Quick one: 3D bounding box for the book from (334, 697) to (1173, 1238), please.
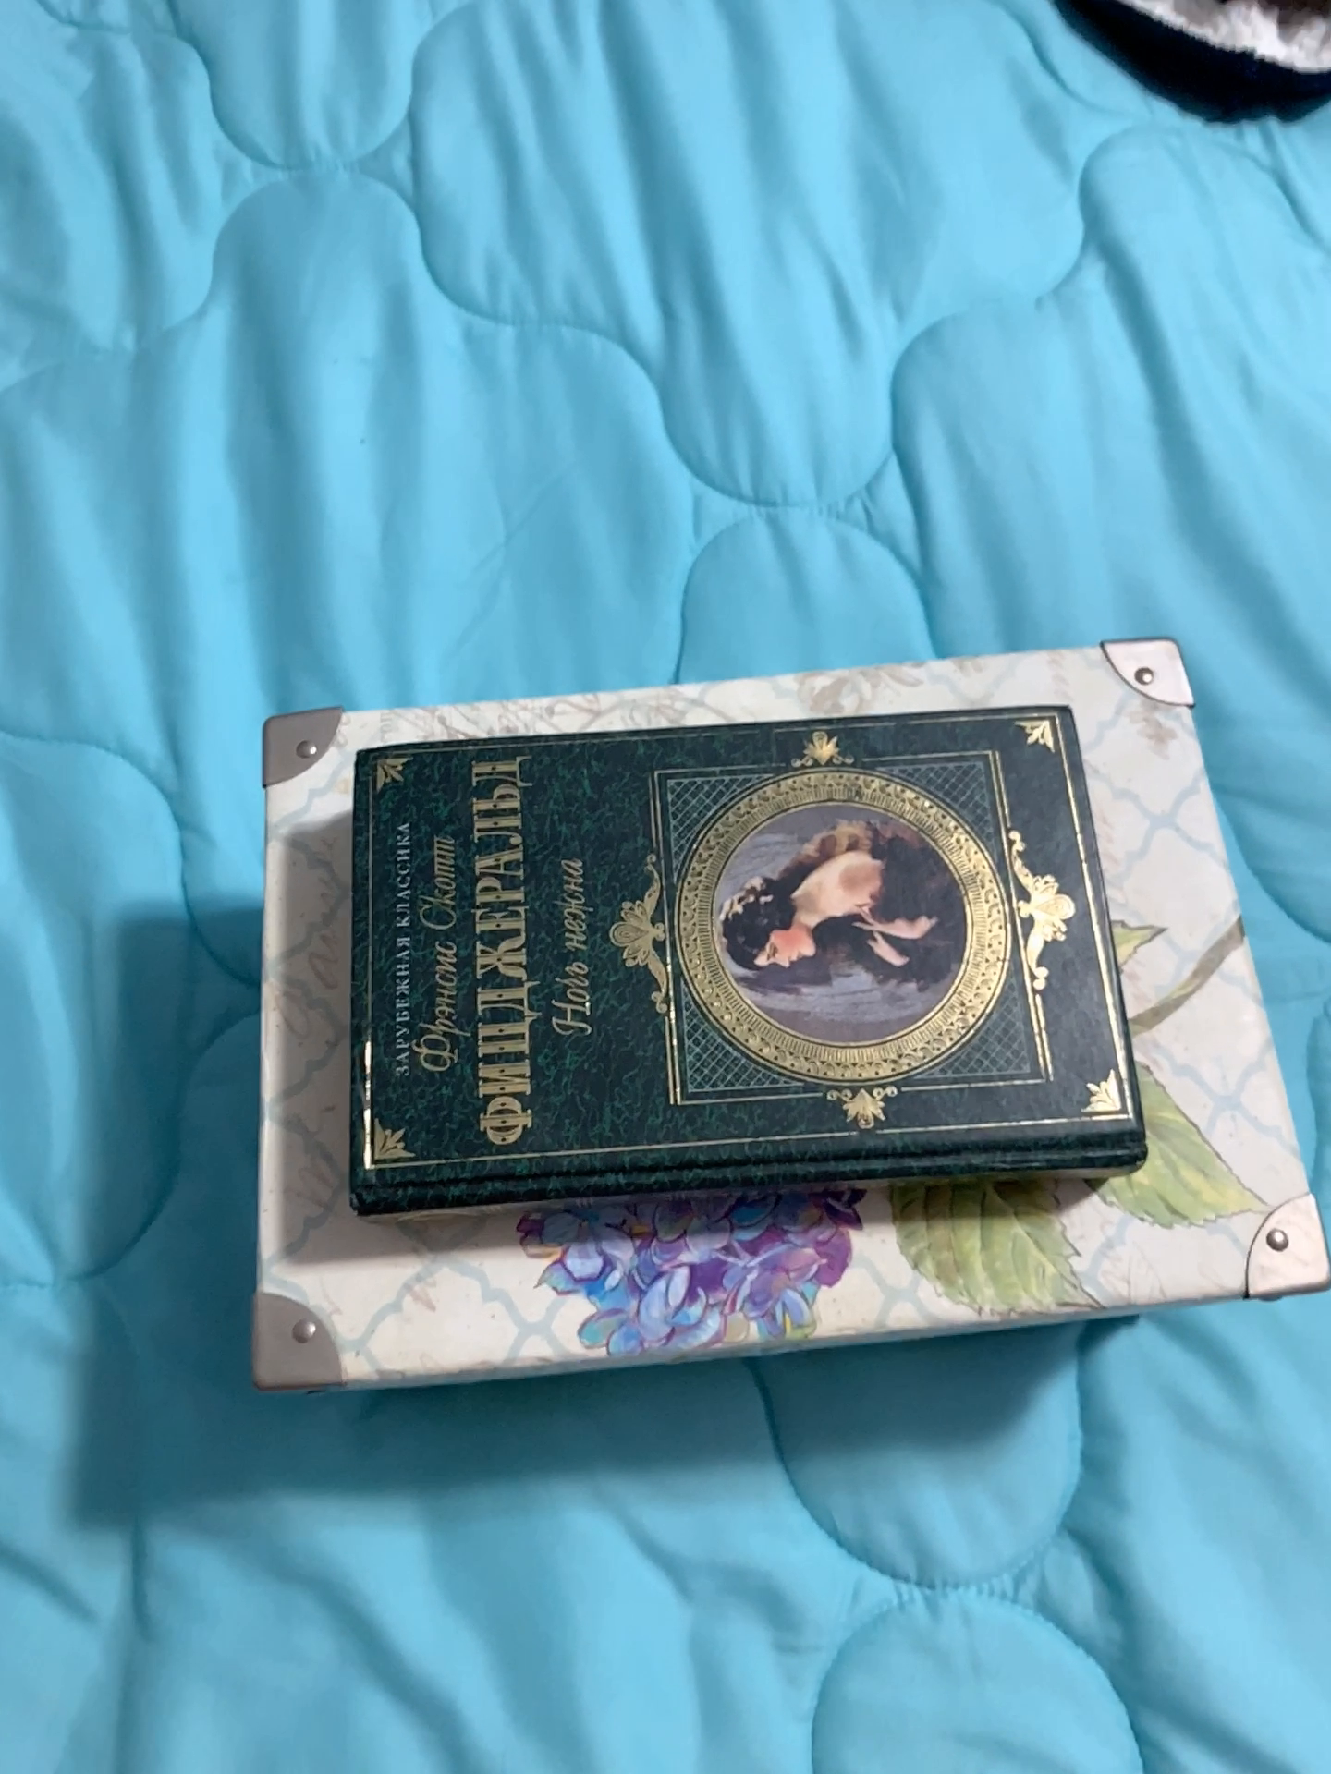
[{"bbox_3d":[0.019,0.021,0.396,0.220,0.030,0.140,-3,70,-1],"label":"book"}]
